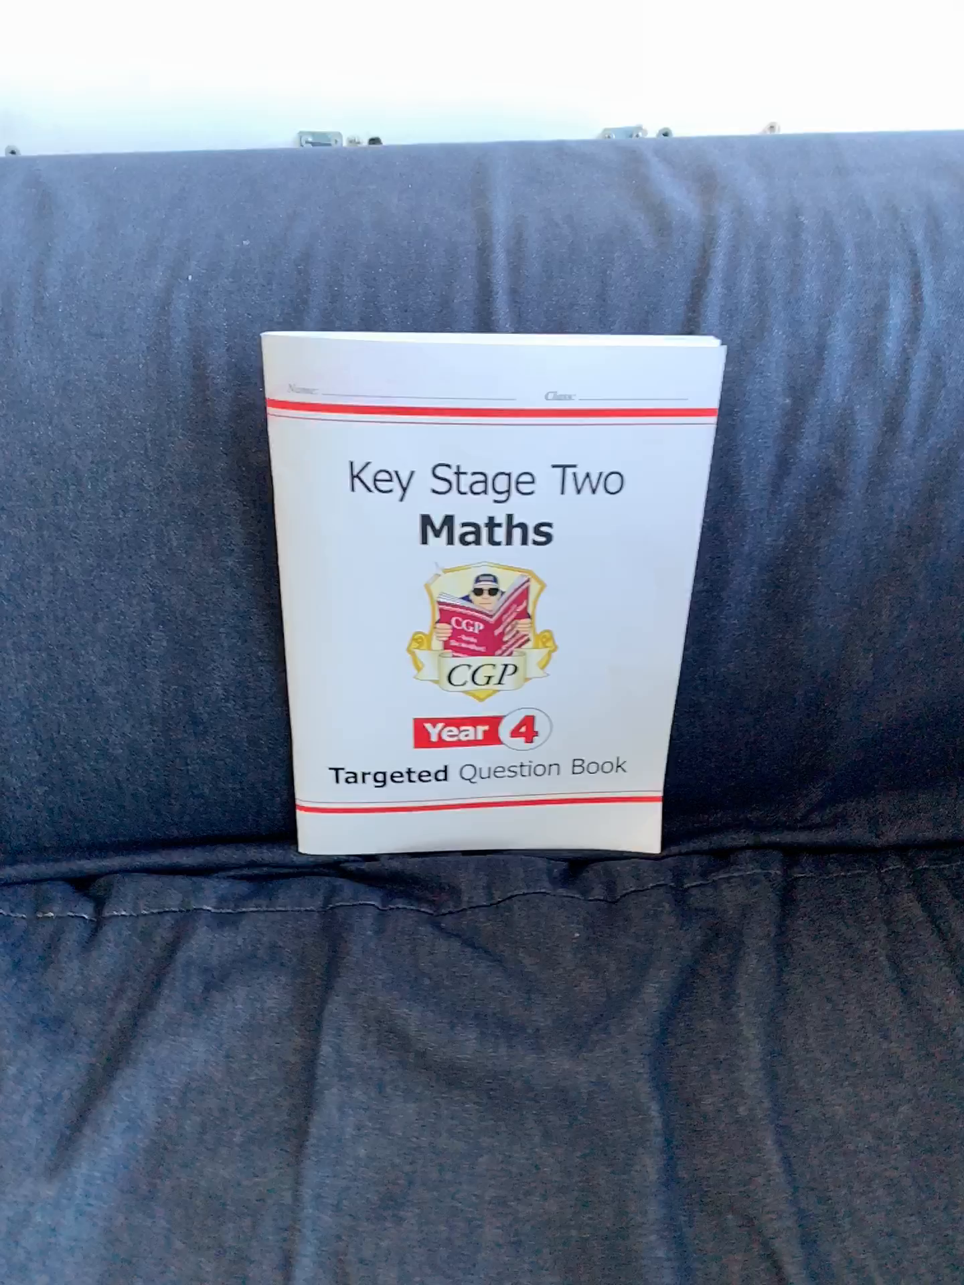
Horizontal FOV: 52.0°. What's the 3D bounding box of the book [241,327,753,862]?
[{"bbox_3d":[0.008,-0.014,0.487,0.220,0.266,0.030,-1,22,0],"label":"book"}]
